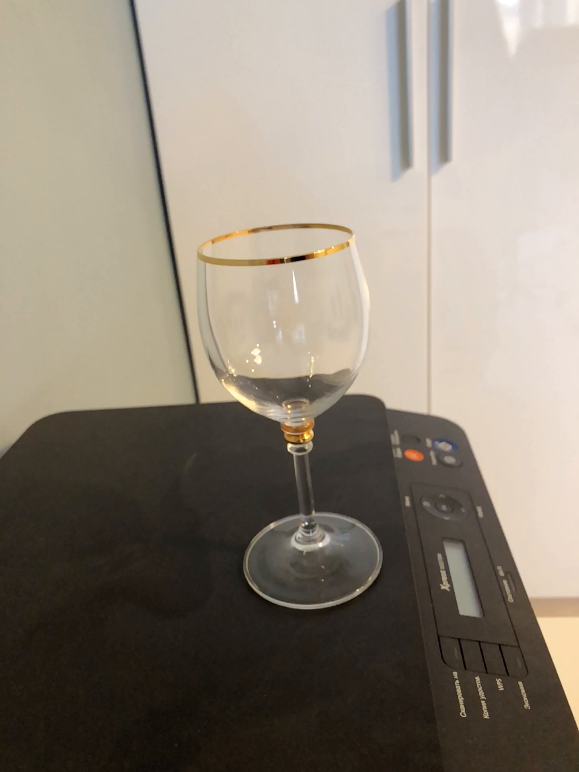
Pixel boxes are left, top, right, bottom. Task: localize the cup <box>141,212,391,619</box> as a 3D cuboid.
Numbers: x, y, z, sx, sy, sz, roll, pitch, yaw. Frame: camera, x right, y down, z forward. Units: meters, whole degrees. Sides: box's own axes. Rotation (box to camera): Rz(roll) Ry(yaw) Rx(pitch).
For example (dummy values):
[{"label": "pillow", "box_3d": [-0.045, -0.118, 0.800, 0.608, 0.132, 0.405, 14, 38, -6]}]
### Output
[{"label": "cup", "box_3d": [0.000, 0.016, 0.321, 0.086, 0.177, 0.087, -7, 23, 3]}]
